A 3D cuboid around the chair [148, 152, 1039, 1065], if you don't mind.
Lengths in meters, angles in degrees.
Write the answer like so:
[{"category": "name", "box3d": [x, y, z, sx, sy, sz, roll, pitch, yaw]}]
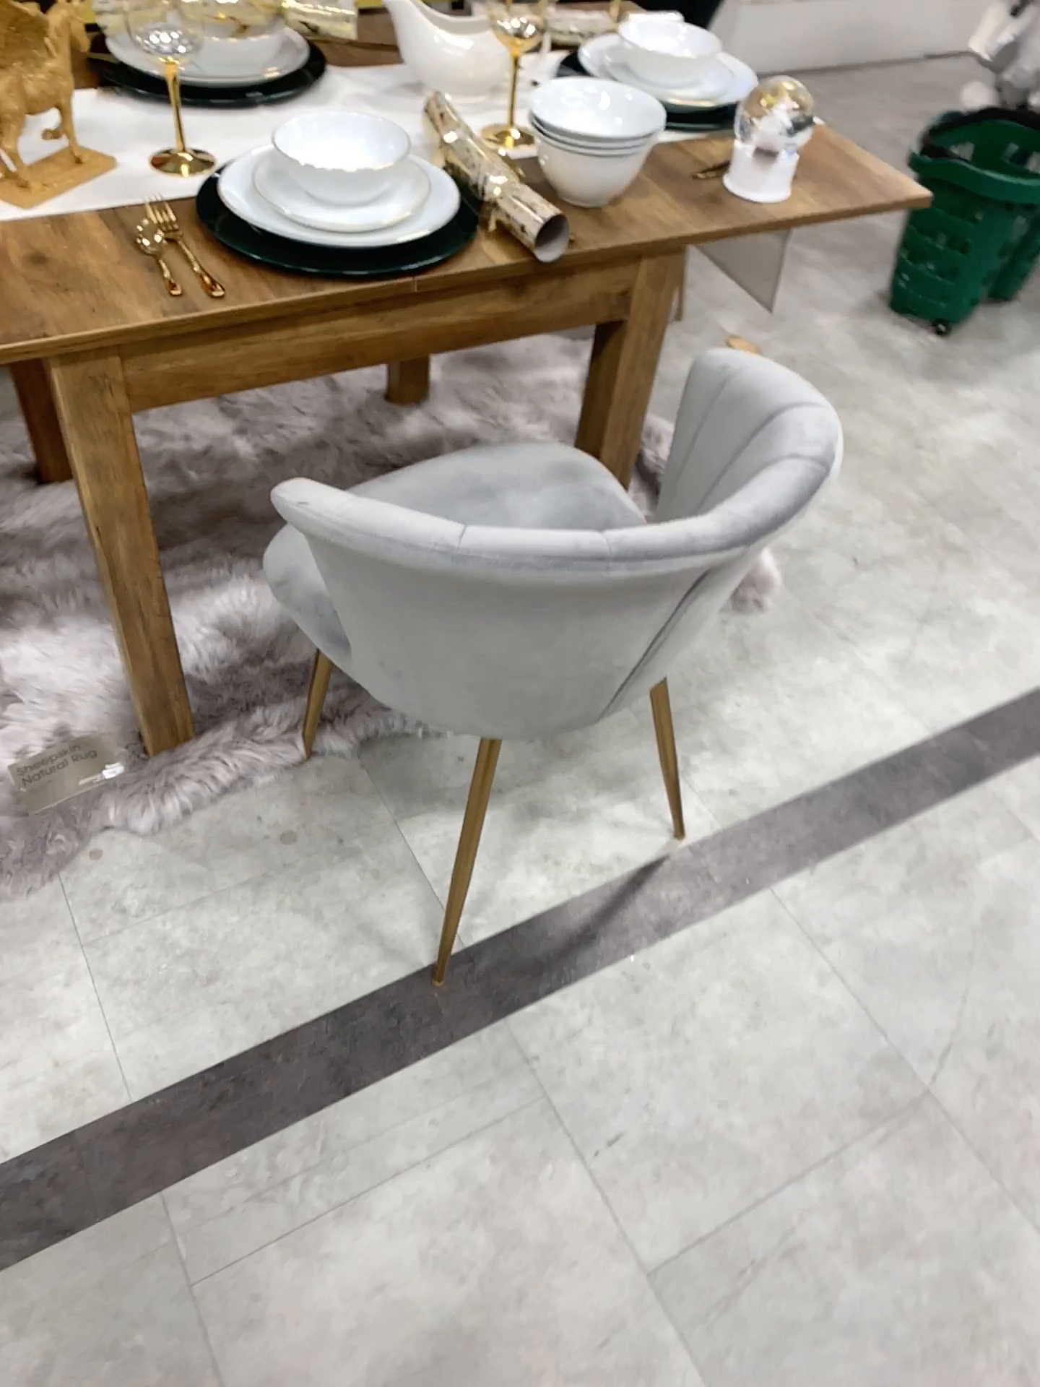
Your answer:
[{"category": "chair", "box3d": [0.037, -0.106, 1.235, 0.633, 0.709, 0.553, -24, 56, -26]}]
